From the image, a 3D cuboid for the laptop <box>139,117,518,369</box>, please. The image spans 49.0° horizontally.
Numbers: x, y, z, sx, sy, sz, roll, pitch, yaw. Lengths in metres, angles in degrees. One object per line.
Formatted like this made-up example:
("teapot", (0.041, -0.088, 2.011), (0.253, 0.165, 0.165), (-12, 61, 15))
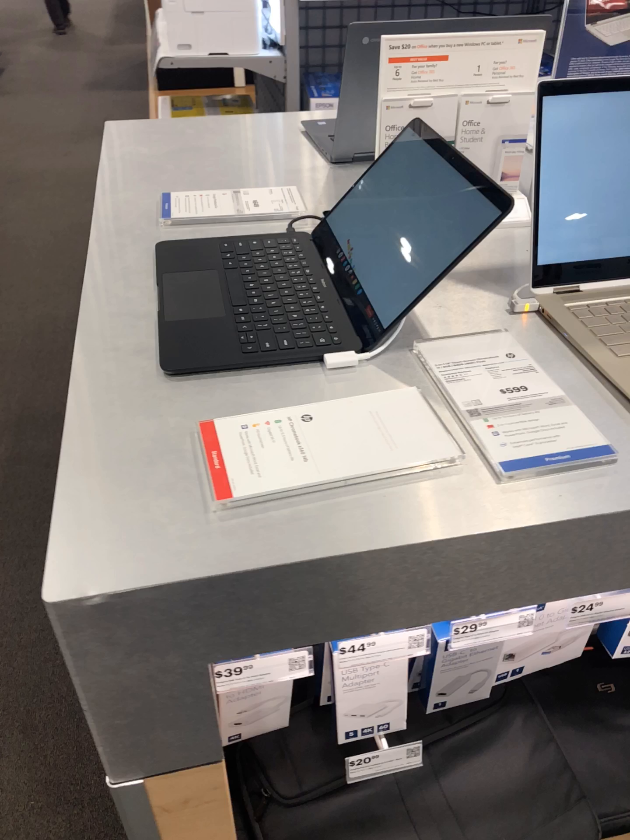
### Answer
("laptop", (-0.011, -0.210, 0.752), (0.334, 0.134, 0.295), (-7, 39, -8))
